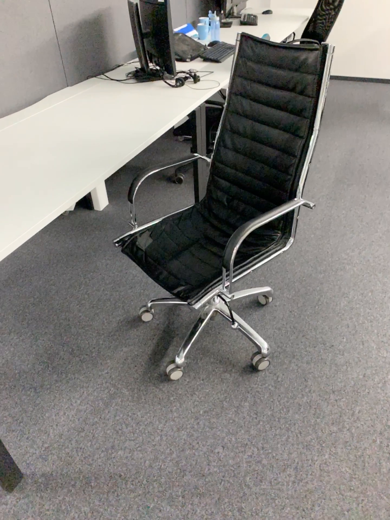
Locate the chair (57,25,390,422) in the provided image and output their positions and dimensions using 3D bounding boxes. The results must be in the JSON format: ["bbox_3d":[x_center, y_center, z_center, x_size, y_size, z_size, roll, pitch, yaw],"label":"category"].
[{"bbox_3d":[0.081,-0.141,1.477,0.692,1.133,0.642,-26,44,-27],"label":"chair"}]
